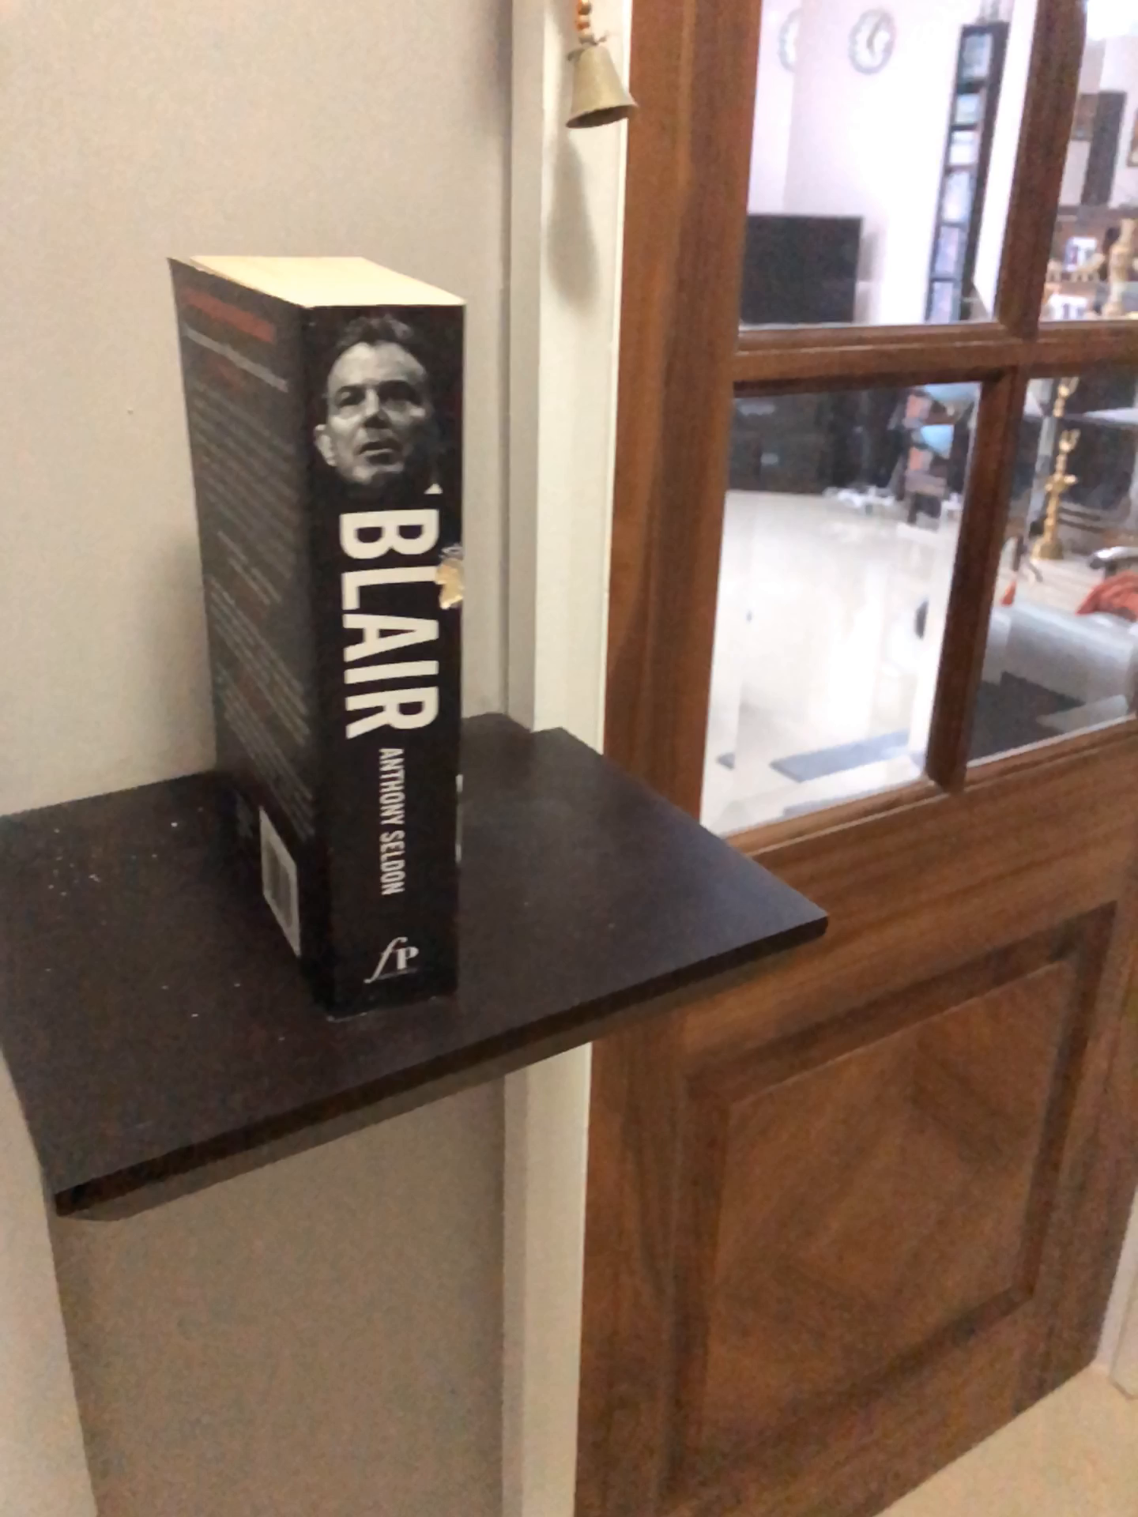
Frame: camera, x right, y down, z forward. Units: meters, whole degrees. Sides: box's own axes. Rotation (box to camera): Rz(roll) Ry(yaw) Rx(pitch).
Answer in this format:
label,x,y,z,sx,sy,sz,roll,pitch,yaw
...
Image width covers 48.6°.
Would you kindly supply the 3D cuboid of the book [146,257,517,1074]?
label,x,y,z,sx,sy,sz,roll,pitch,yaw
book,-0.079,-0.043,0.399,0.060,0.209,0.171,-9,25,-24
